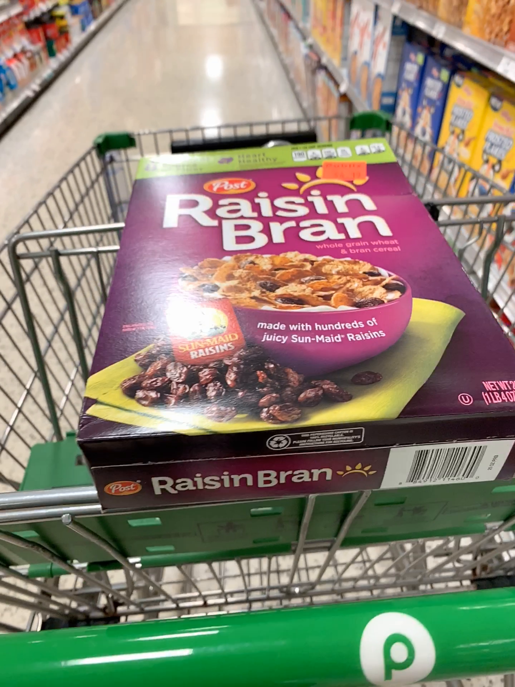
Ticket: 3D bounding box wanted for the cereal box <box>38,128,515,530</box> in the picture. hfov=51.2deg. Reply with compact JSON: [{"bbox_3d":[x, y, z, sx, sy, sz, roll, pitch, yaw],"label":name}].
[{"bbox_3d":[0.016,-0.043,0.323,0.210,0.059,0.283,-4,41,-2],"label":"cereal box"}]
